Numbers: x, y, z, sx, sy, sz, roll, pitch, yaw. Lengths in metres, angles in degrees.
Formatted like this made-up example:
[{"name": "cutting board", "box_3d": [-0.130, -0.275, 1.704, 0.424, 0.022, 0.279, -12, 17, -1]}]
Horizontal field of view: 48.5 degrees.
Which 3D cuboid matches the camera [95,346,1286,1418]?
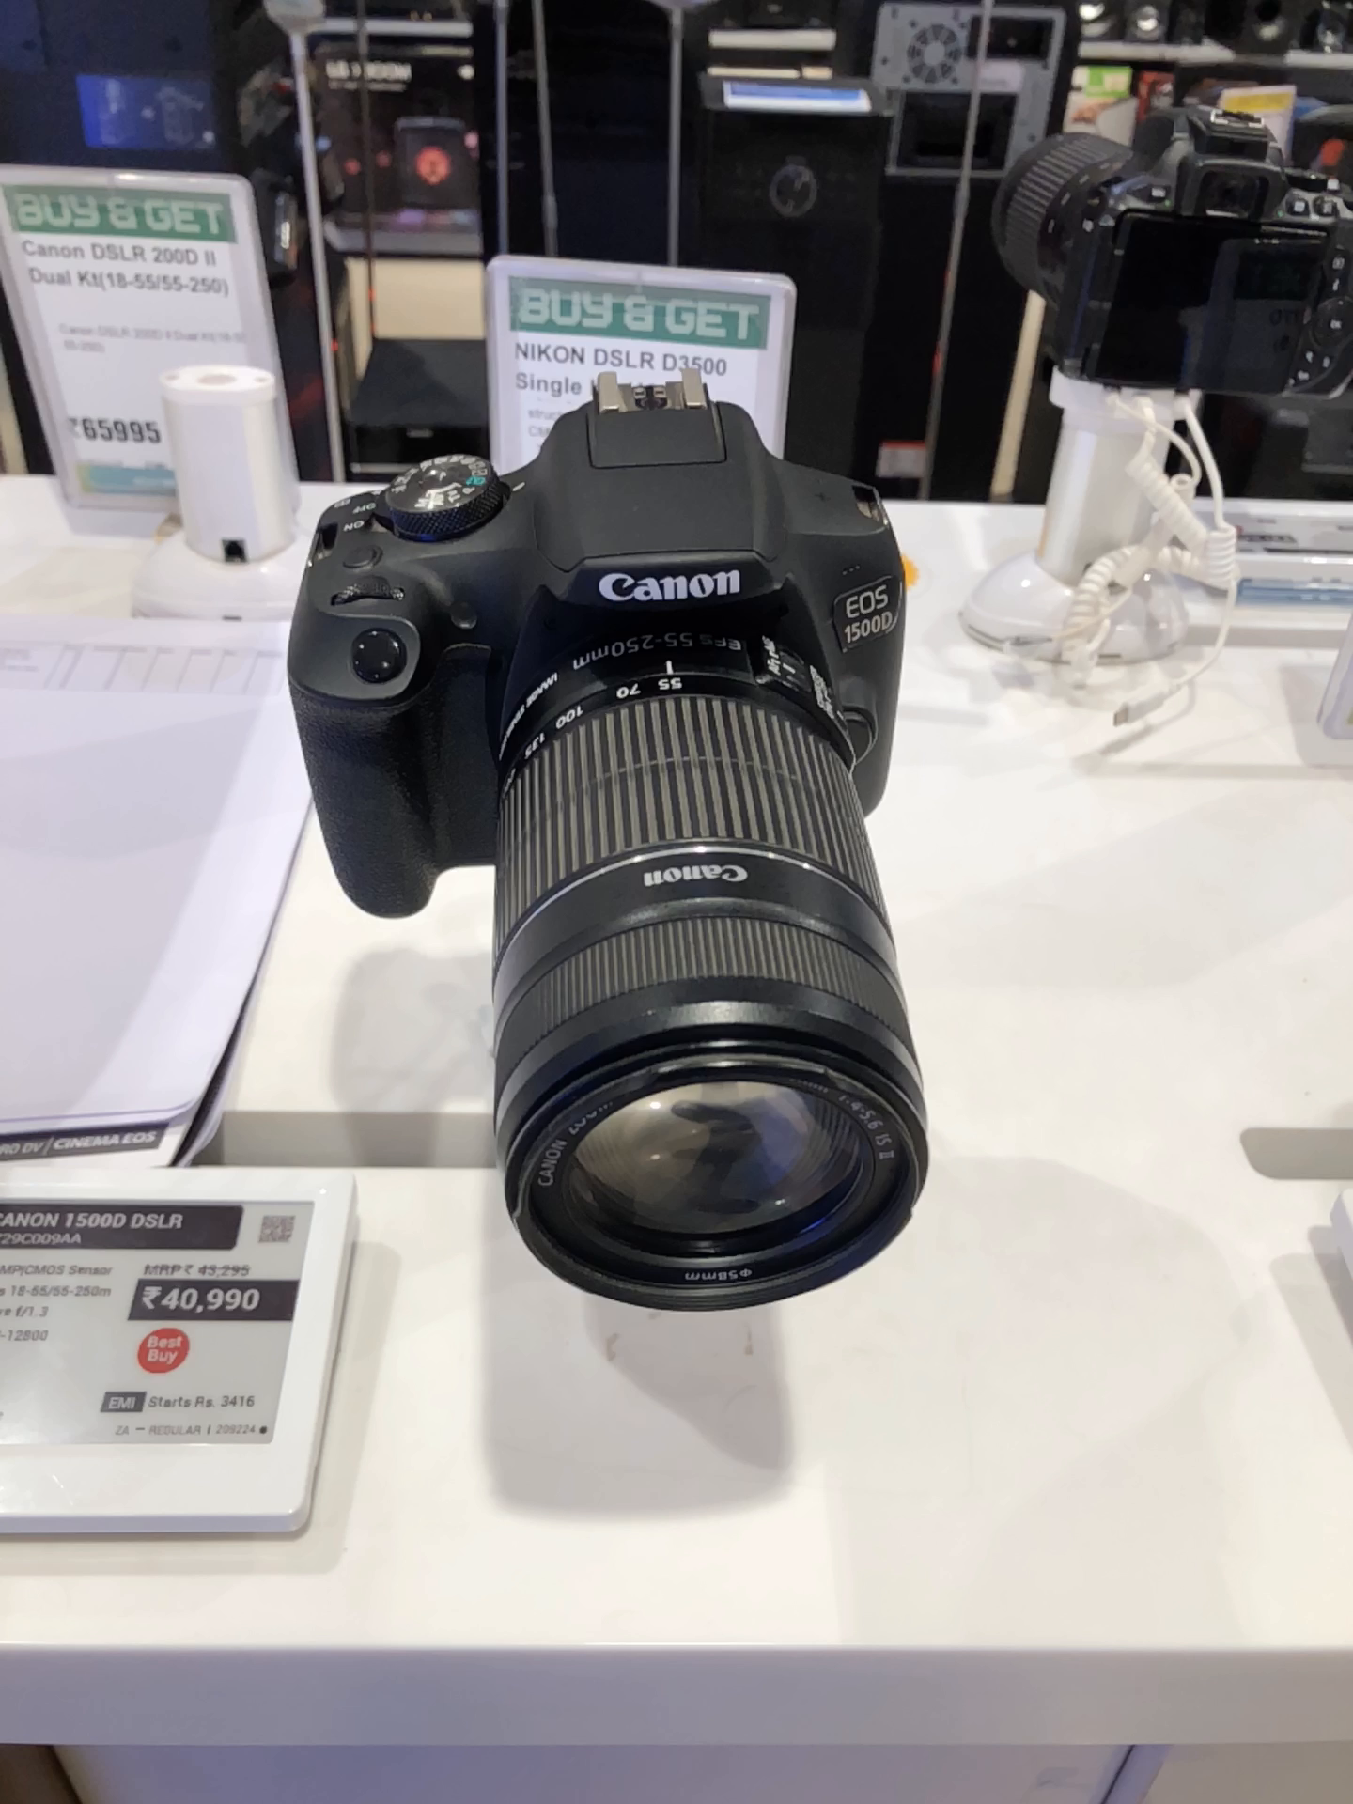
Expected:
[{"name": "camera", "box_3d": [-0.009, -0.025, 0.281, 0.140, 0.089, 0.201, -3, 38, -7]}]
